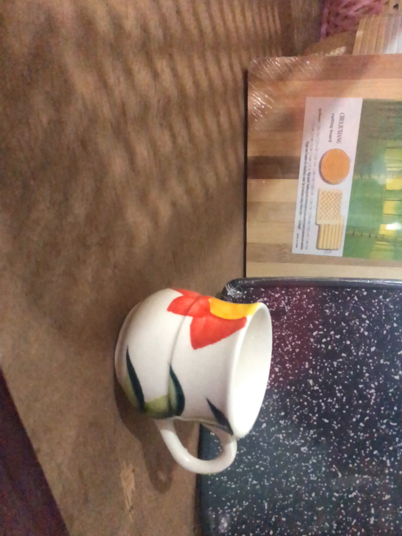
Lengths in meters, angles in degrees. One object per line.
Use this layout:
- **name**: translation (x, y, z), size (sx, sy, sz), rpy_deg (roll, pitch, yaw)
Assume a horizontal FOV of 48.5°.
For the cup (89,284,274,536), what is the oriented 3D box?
- **cup**: translation (-0.003, 0.063, 0.210), size (0.060, 0.060, 0.090), rpy_deg (-41, 132, -59)
